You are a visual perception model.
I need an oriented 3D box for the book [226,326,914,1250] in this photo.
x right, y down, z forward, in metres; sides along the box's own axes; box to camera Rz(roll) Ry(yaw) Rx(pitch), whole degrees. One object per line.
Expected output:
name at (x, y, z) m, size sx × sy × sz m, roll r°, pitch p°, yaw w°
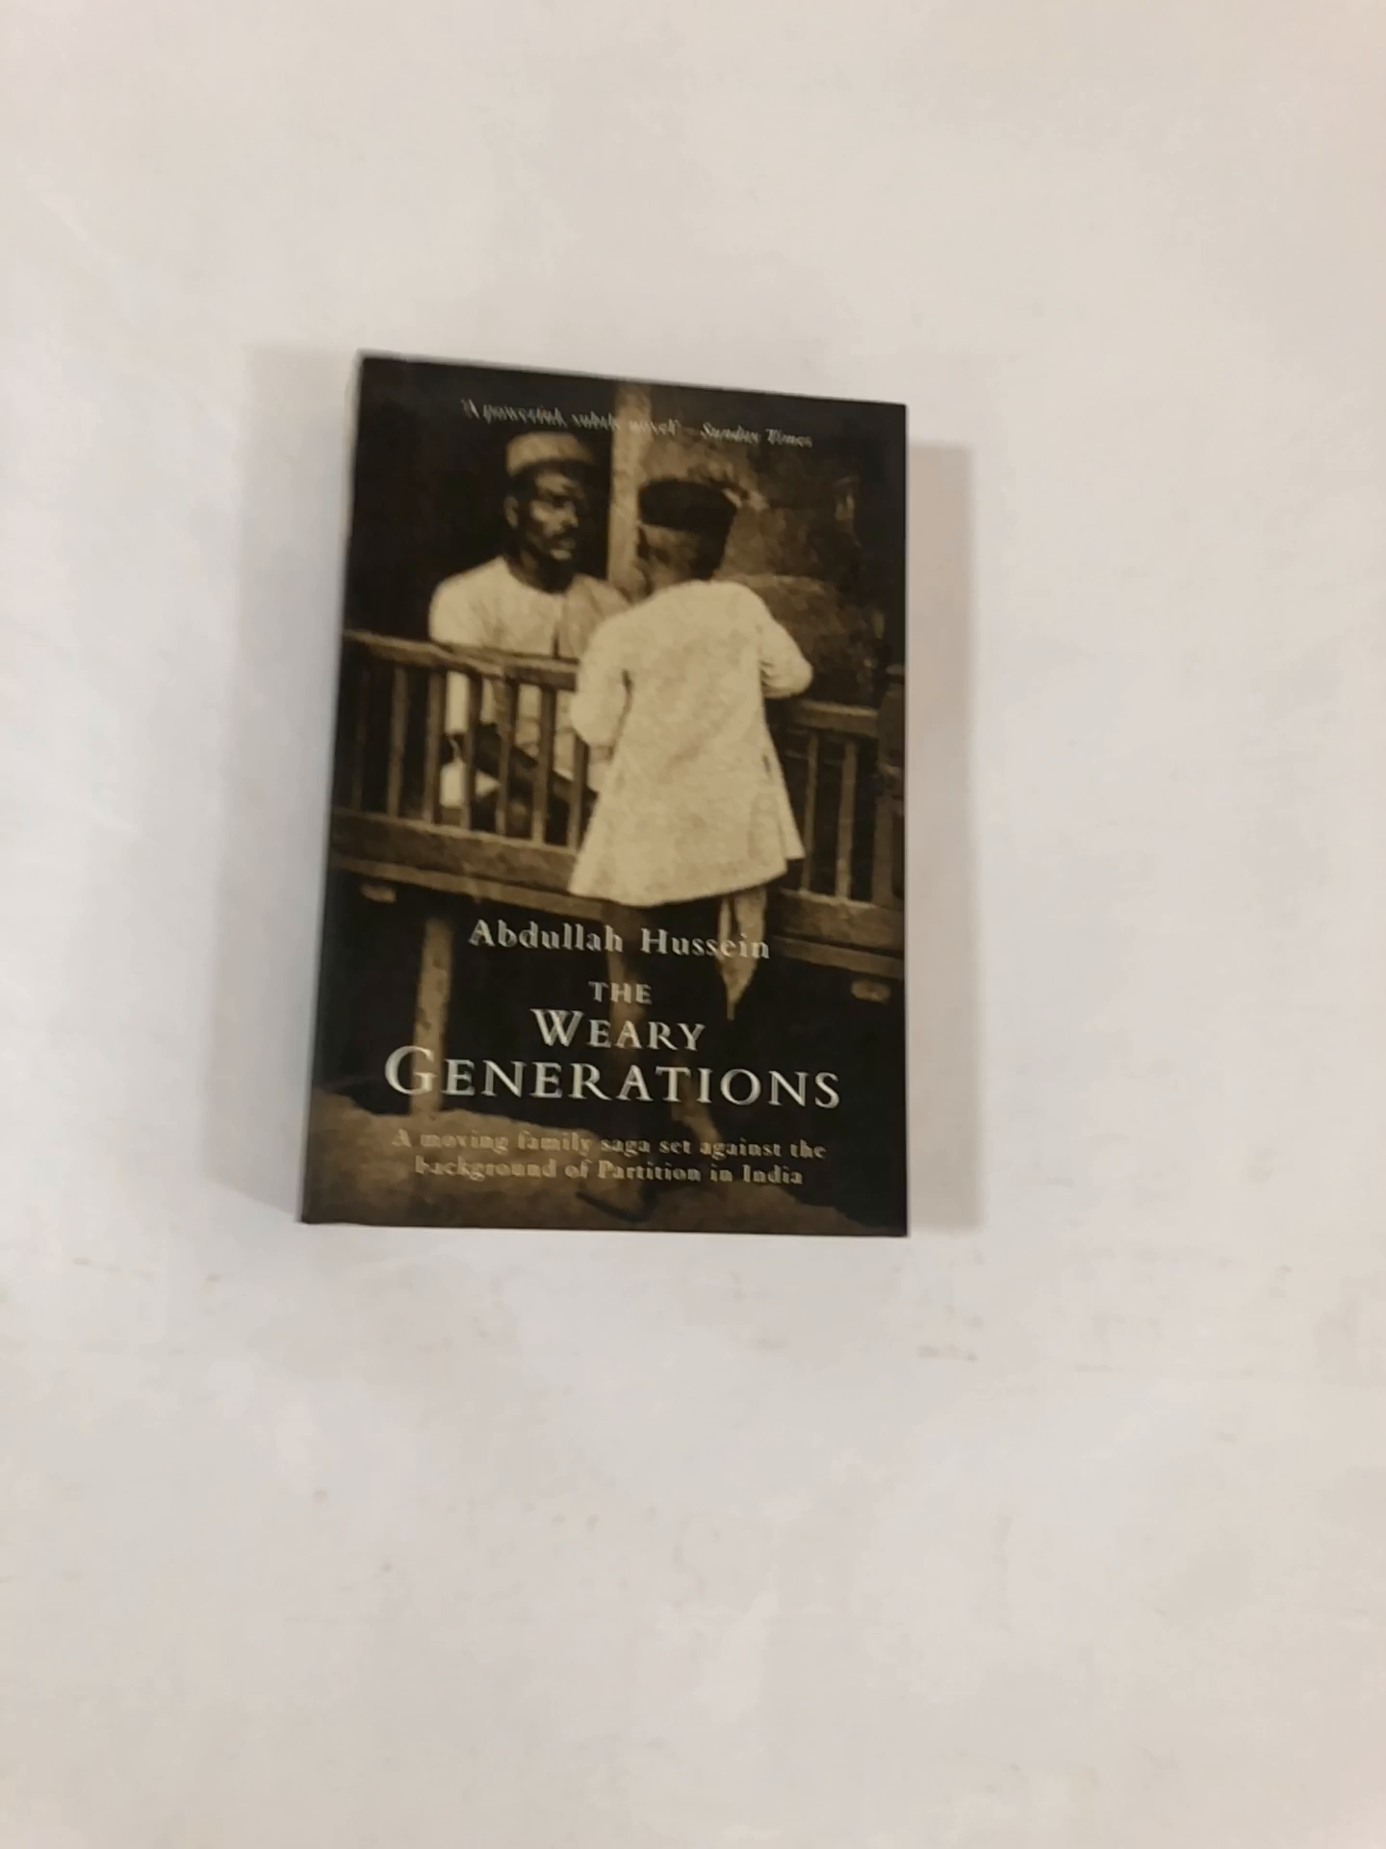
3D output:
book at (-0.023, -0.030, 0.349) m, size 0.140 × 0.030 × 0.200 m, roll 3°, pitch 78°, yaw -7°
